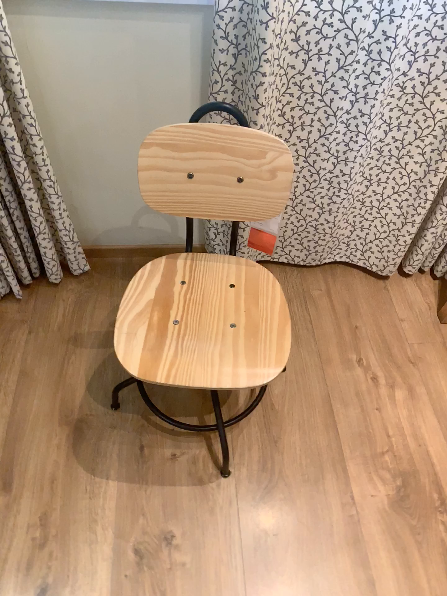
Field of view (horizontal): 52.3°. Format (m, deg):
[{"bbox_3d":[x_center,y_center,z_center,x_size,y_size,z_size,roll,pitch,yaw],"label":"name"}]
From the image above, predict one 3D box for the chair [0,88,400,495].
[{"bbox_3d":[-0.050,0.015,1.042,0.560,0.648,0.622,5,52,-1],"label":"chair"}]
